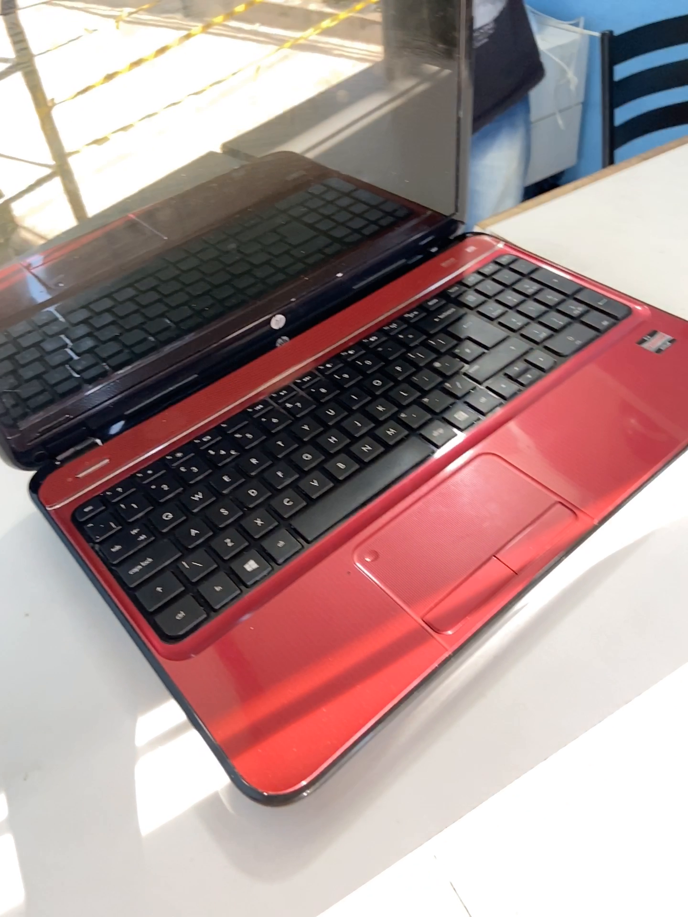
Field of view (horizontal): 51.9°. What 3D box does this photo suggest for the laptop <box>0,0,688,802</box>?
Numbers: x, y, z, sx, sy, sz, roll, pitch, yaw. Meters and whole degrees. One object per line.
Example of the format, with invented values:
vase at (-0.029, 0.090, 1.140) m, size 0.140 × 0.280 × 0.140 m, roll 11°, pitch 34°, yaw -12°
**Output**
laptop at (0.020, -0.100, 0.318) m, size 0.357 × 0.221 × 0.228 m, roll -34°, pitch 50°, yaw -23°
